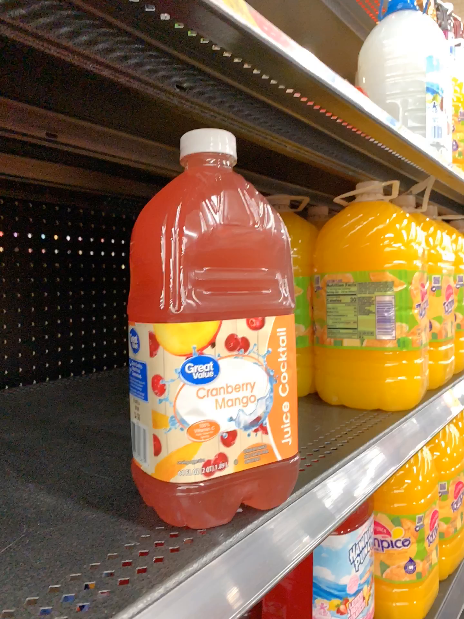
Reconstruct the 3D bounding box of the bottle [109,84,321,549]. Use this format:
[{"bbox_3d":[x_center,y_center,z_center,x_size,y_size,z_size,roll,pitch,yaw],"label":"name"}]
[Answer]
[{"bbox_3d":[-0.014,0.002,0.354,0.119,0.272,0.101,-3,4,-30],"label":"bottle"}]
